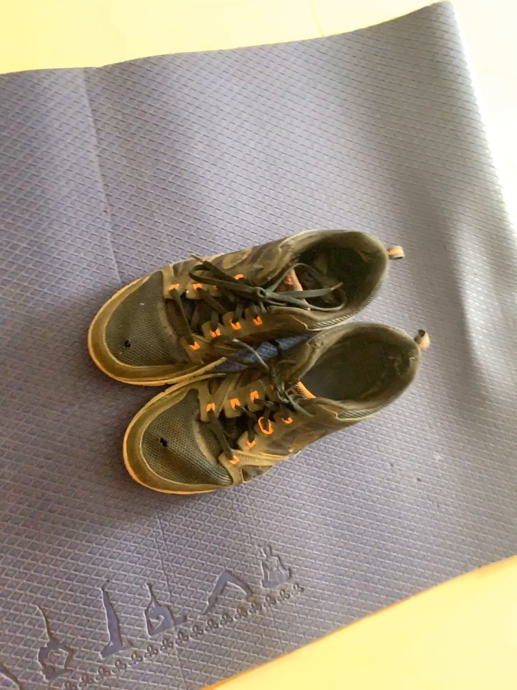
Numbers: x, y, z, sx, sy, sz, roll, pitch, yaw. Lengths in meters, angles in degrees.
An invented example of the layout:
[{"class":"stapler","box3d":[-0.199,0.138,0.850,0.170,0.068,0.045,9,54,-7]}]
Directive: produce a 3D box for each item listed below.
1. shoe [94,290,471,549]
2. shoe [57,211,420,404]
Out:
[{"class":"shoe","box3d":[0.023,0.060,0.498,0.310,0.100,0.110,-20,86,-15]},{"class":"shoe","box3d":[-0.016,-0.039,0.529,0.320,0.100,0.100,-16,91,-14]}]
